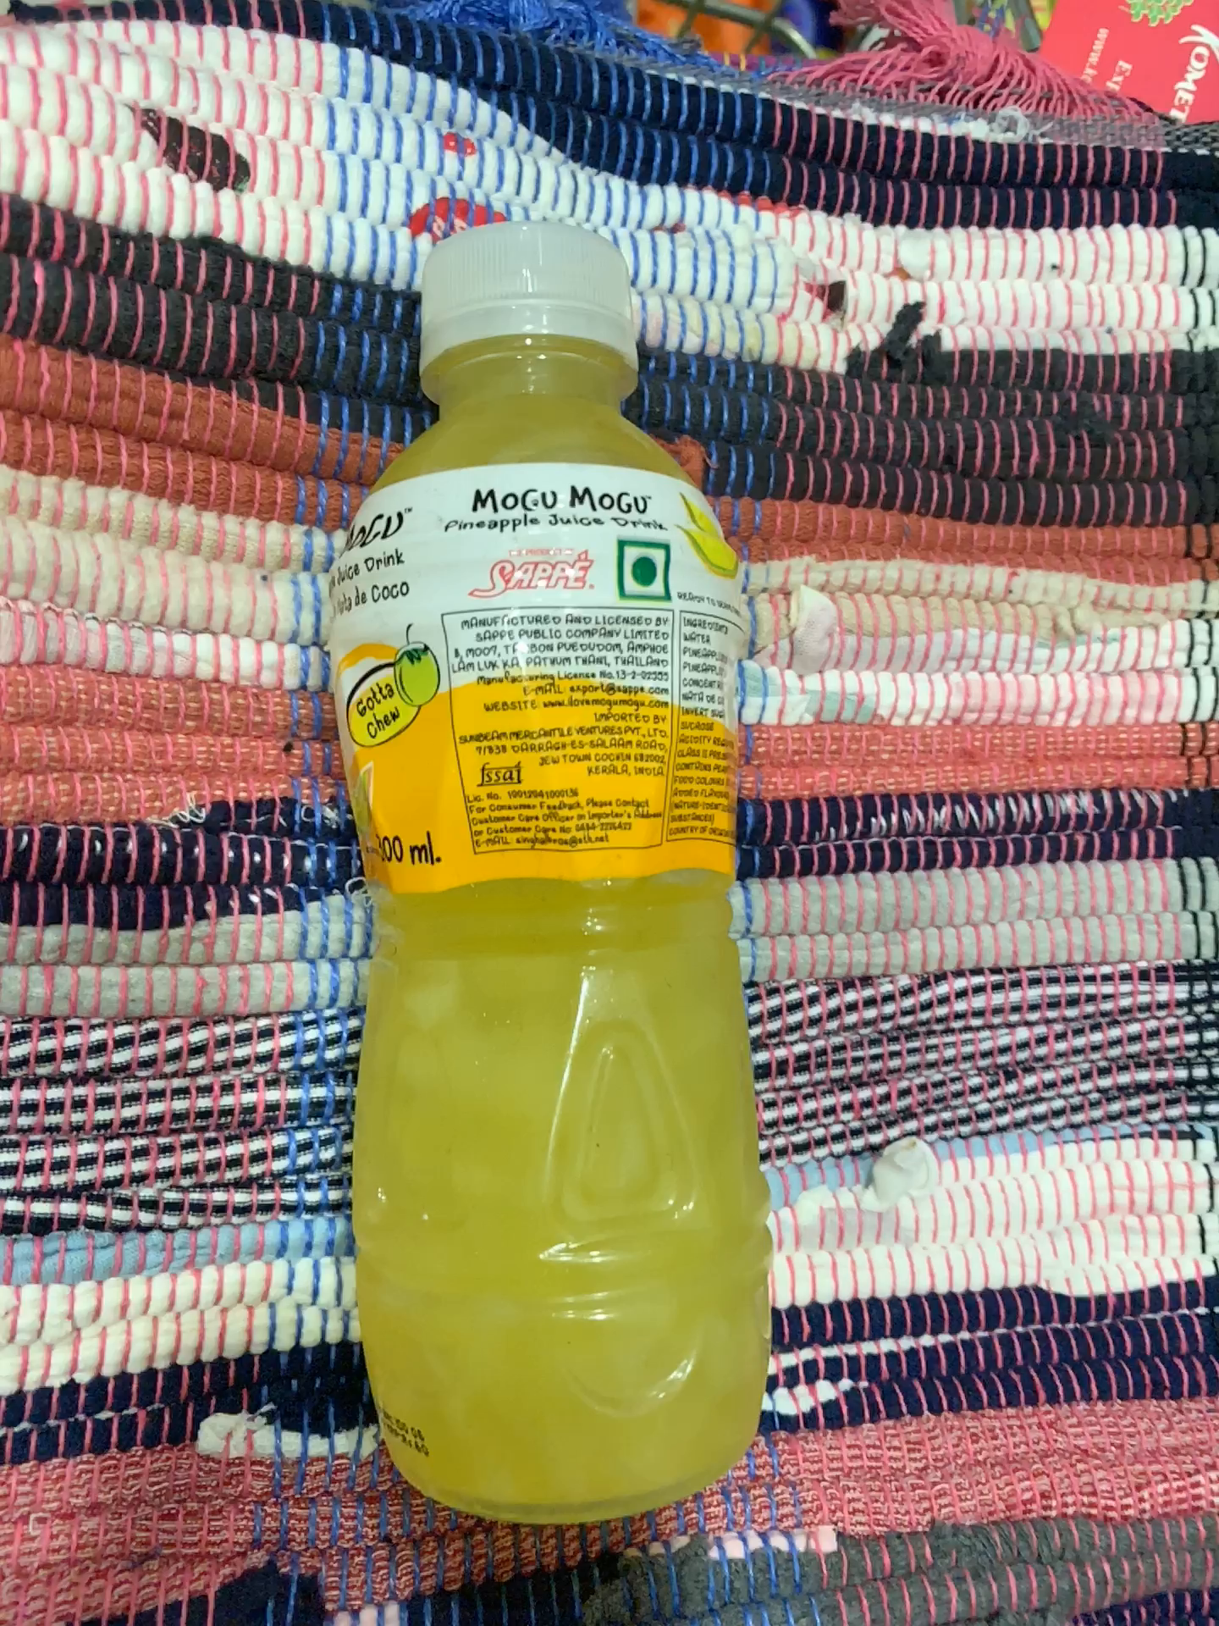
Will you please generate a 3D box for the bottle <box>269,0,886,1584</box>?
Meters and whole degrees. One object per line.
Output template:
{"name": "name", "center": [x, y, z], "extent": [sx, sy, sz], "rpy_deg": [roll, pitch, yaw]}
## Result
{"name": "bottle", "center": [-0.011, -0.009, 0.180], "extent": [0.060, 0.050, 0.190], "rpy_deg": [-3, 82, -19]}
